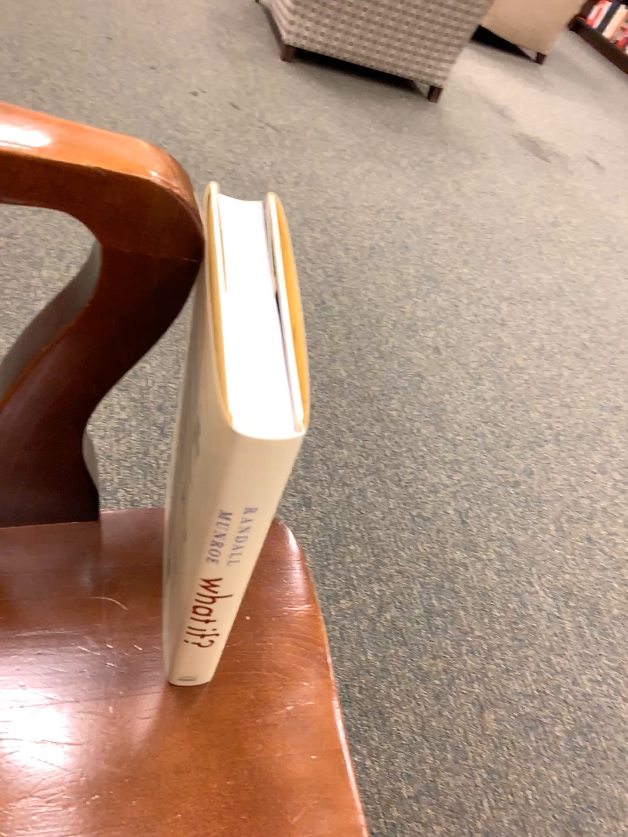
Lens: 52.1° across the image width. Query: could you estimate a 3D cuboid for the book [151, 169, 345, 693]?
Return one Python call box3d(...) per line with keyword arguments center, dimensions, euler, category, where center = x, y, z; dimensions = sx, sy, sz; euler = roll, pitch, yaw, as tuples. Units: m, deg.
box3d(center=(-0.056, 0.018, 0.373), dimensions=(0.050, 0.239, 0.188), euler=(5, 46, -16), category="book")
